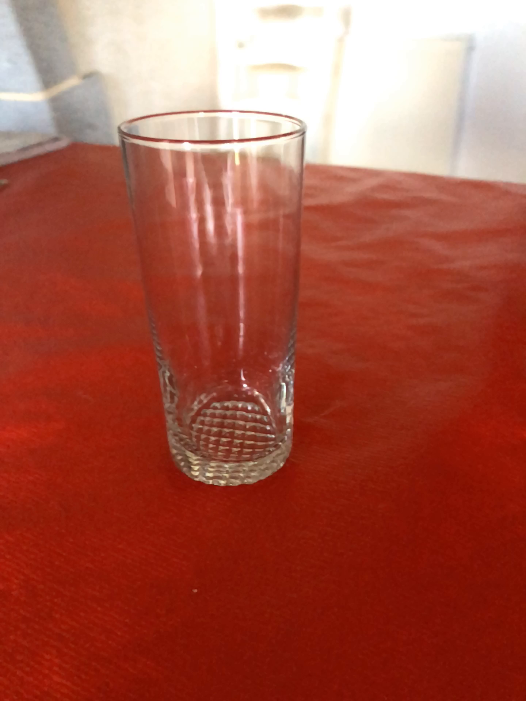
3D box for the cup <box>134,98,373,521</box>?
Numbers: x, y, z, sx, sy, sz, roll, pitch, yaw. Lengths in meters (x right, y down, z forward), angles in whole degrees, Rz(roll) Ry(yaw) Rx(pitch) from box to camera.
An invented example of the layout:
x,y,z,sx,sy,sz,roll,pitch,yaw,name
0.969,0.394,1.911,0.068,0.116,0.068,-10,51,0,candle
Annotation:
x,y,z,sx,sy,sz,roll,pitch,yaw,name
-0.005,-0.016,0.237,0.070,0.149,0.070,-1,29,1,cup
